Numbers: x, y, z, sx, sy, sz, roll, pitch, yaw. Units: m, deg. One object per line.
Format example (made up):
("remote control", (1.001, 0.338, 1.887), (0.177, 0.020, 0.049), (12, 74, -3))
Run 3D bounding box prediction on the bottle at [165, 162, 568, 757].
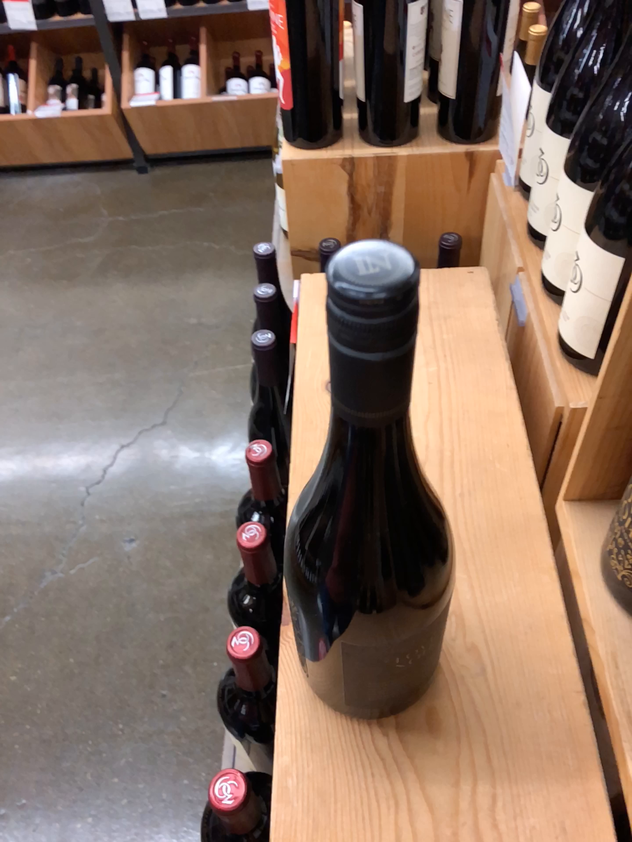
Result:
("bottle", (0.025, 0.046, 0.320), (0.085, 0.285, 0.090), (-3, 49, 3))
